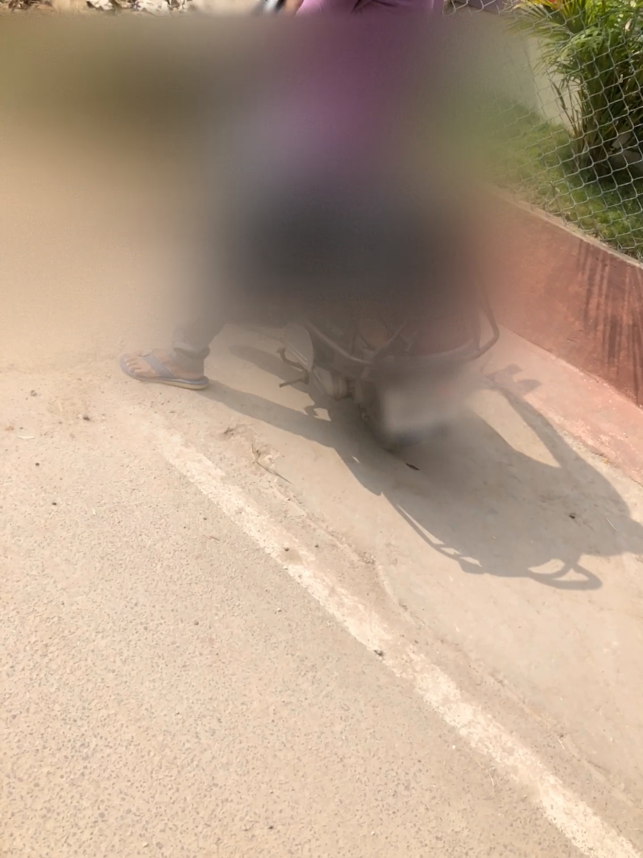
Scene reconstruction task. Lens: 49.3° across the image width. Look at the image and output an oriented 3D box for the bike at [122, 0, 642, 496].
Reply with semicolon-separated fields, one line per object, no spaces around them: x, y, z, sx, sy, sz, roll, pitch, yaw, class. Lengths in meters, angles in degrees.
-0.072;-0.774;2.188;0.710;1.152;1.554;-2;38;-26;bike
